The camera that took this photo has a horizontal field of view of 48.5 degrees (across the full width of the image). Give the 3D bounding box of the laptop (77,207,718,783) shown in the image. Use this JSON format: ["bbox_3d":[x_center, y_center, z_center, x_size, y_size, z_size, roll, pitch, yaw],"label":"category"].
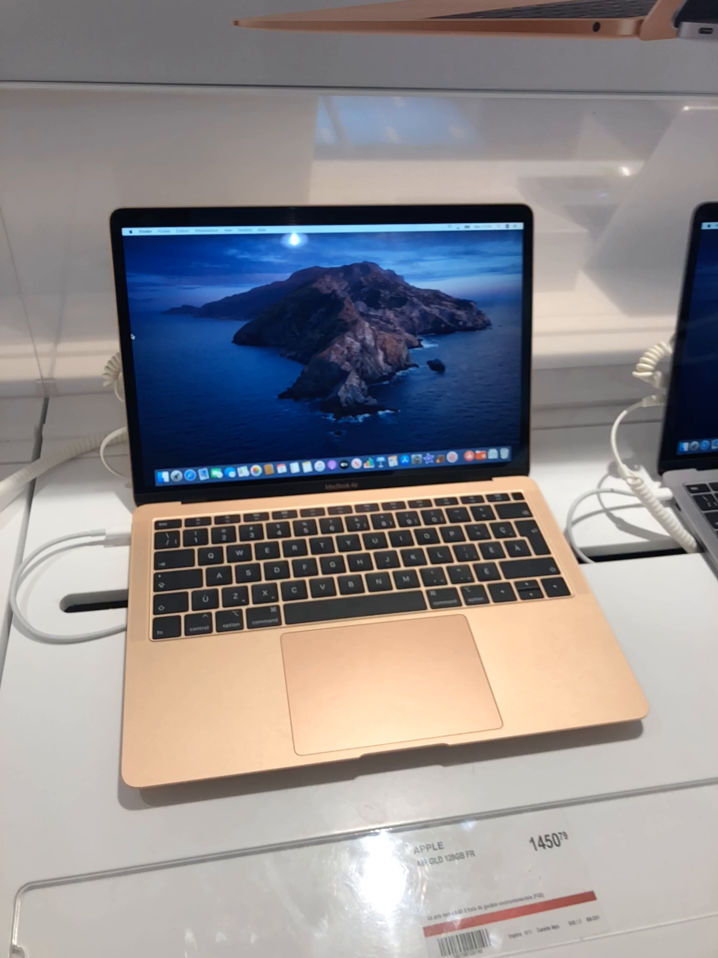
[{"bbox_3d":[0.003,-0.018,0.493,0.291,0.170,0.304,-4,44,-11],"label":"laptop"}]
